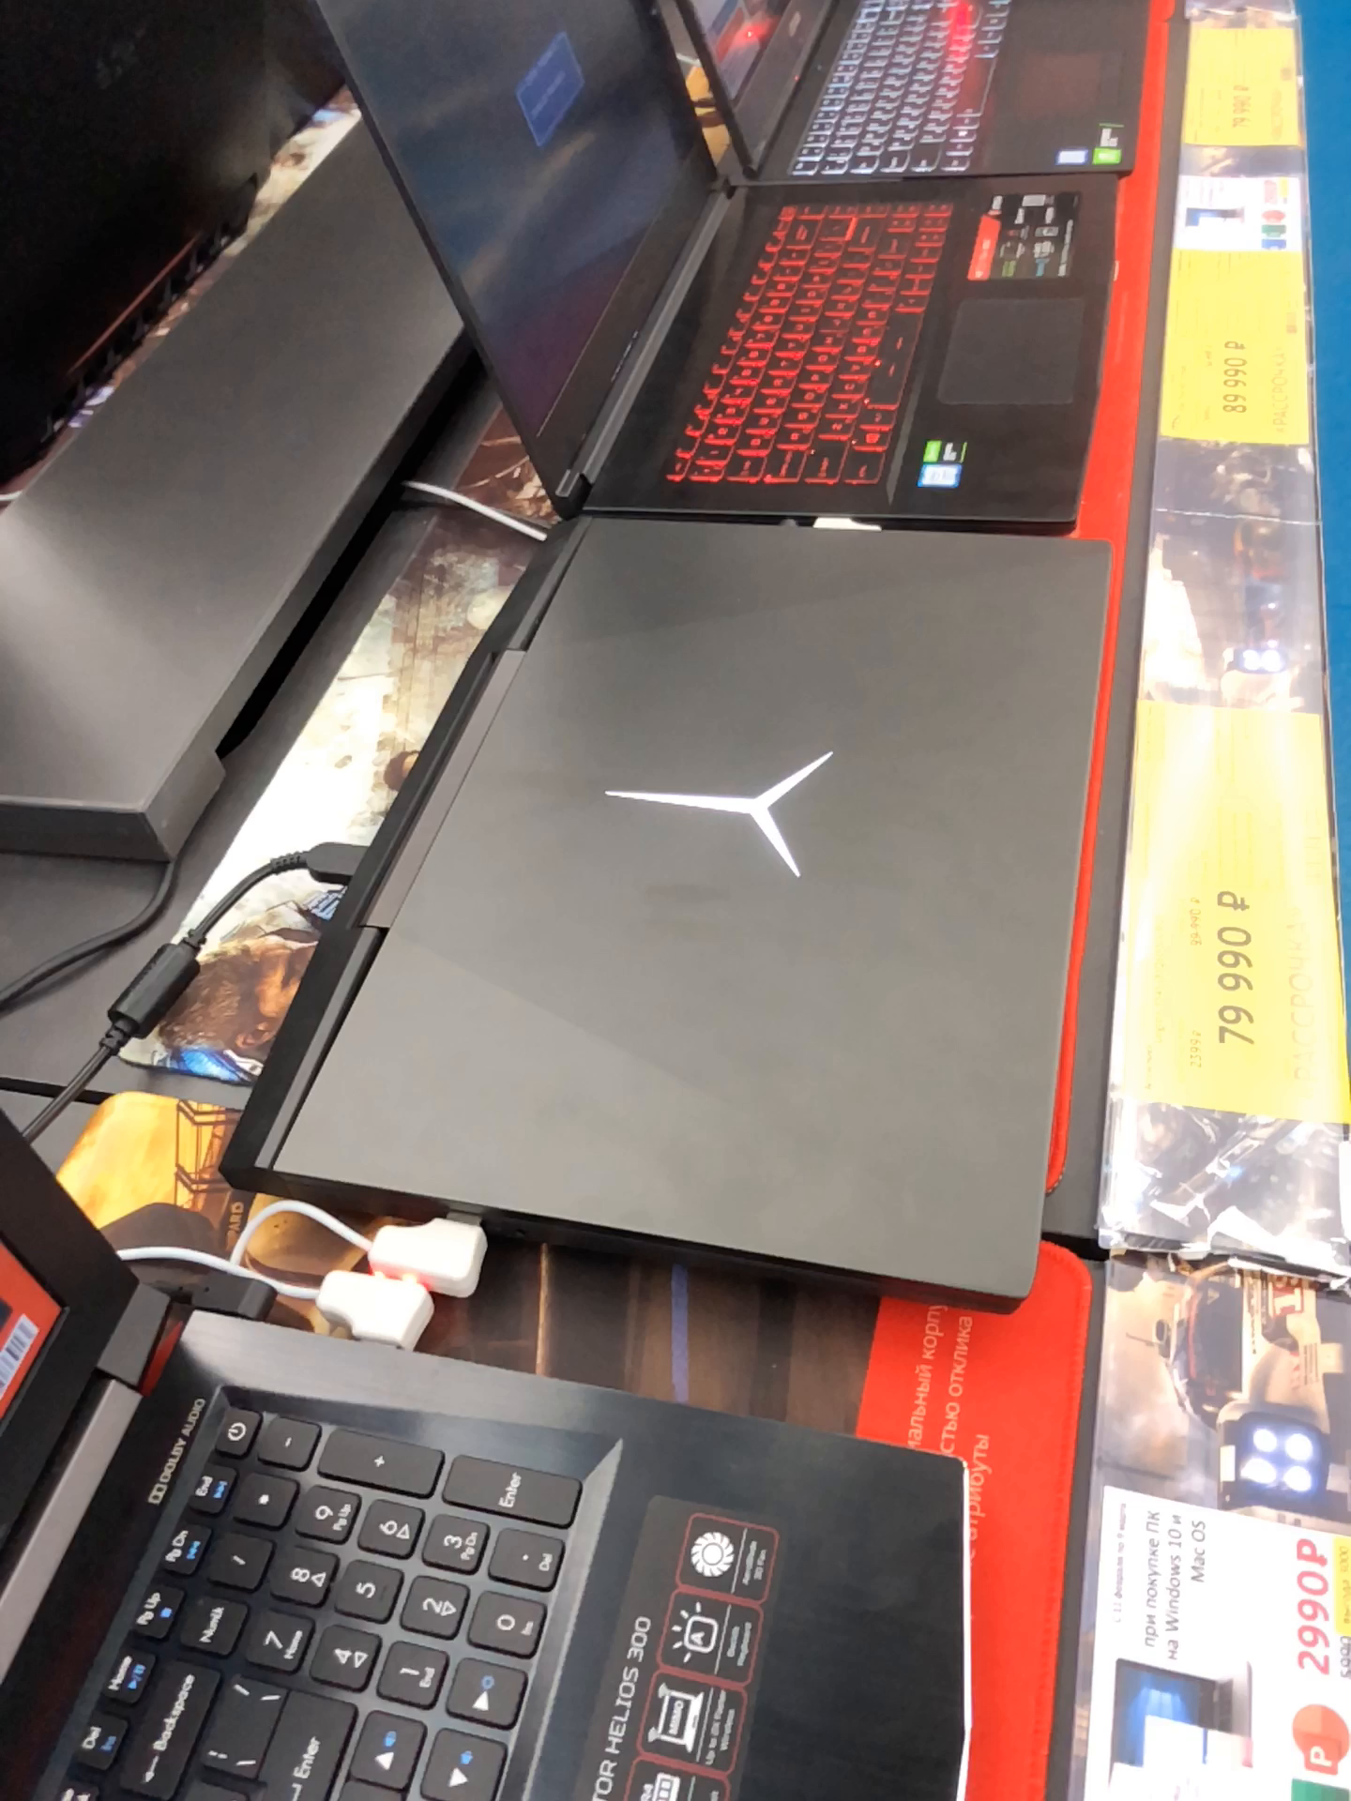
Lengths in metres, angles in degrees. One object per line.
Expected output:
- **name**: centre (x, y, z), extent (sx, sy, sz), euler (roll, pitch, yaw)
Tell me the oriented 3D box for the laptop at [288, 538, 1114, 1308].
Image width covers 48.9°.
- **laptop**: centre (0.031, -0.026, 0.553), extent (0.227, 0.007, 0.345), euler (6, 50, 16)
